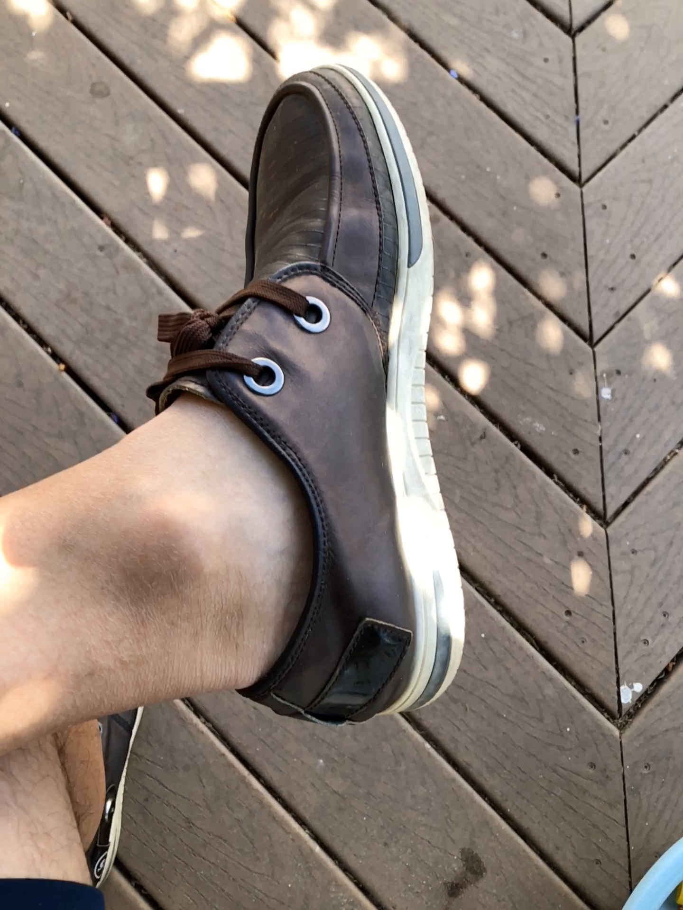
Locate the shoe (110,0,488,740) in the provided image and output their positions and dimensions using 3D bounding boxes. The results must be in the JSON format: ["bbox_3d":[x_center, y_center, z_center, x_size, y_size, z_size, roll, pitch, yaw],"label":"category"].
[{"bbox_3d":[-0.016,-0.041,0.307,0.102,0.097,0.274,10,75,-41],"label":"shoe"}]
